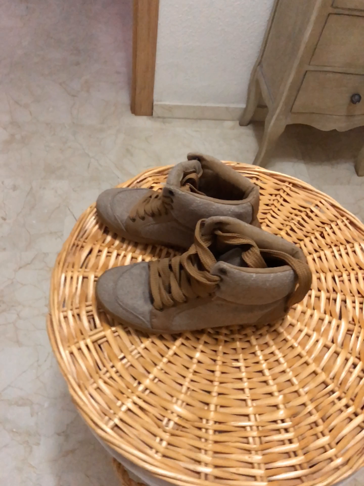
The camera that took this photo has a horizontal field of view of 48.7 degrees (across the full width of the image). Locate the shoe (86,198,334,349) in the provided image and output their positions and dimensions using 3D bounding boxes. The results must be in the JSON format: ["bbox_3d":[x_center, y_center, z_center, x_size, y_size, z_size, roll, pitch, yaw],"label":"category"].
[{"bbox_3d":[0.020,0.046,0.477,0.238,0.168,0.096,3,55,-6],"label":"shoe"}]

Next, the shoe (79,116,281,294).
[{"bbox_3d":[-0.011,-0.046,0.571,0.238,0.178,0.080,21,55,7],"label":"shoe"}]
